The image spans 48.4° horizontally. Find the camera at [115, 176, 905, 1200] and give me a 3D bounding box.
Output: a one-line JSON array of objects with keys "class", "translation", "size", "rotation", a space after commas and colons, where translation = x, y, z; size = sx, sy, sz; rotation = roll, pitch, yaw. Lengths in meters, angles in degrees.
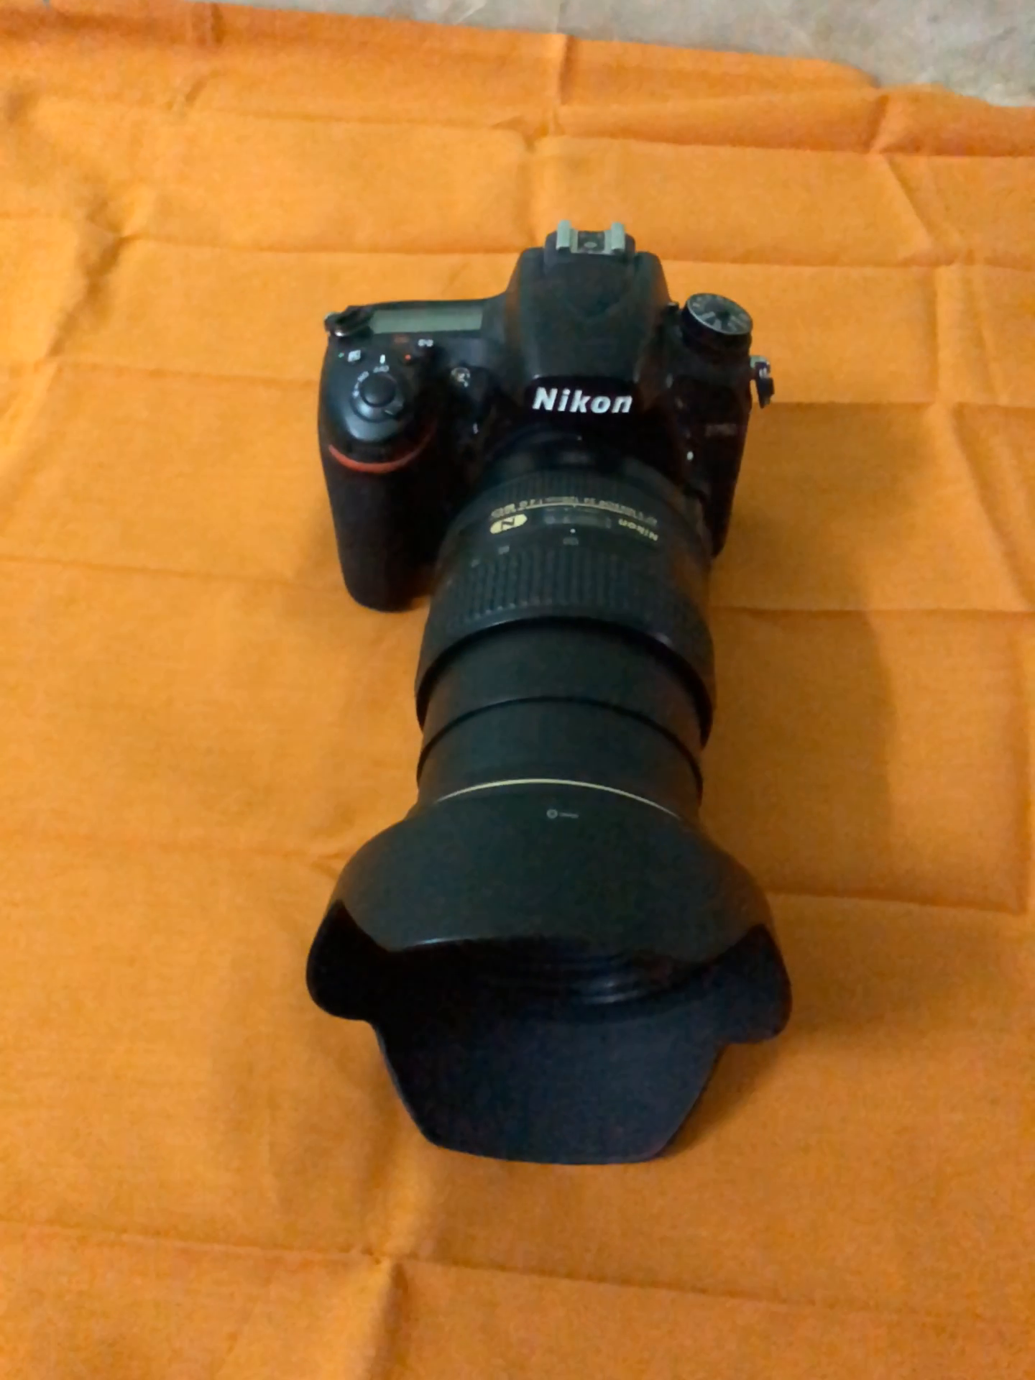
[{"class": "camera", "translation": [0.004, -0.018, 0.320], "size": [0.130, 0.120, 0.265], "rotation": [2, 51, 2]}]
